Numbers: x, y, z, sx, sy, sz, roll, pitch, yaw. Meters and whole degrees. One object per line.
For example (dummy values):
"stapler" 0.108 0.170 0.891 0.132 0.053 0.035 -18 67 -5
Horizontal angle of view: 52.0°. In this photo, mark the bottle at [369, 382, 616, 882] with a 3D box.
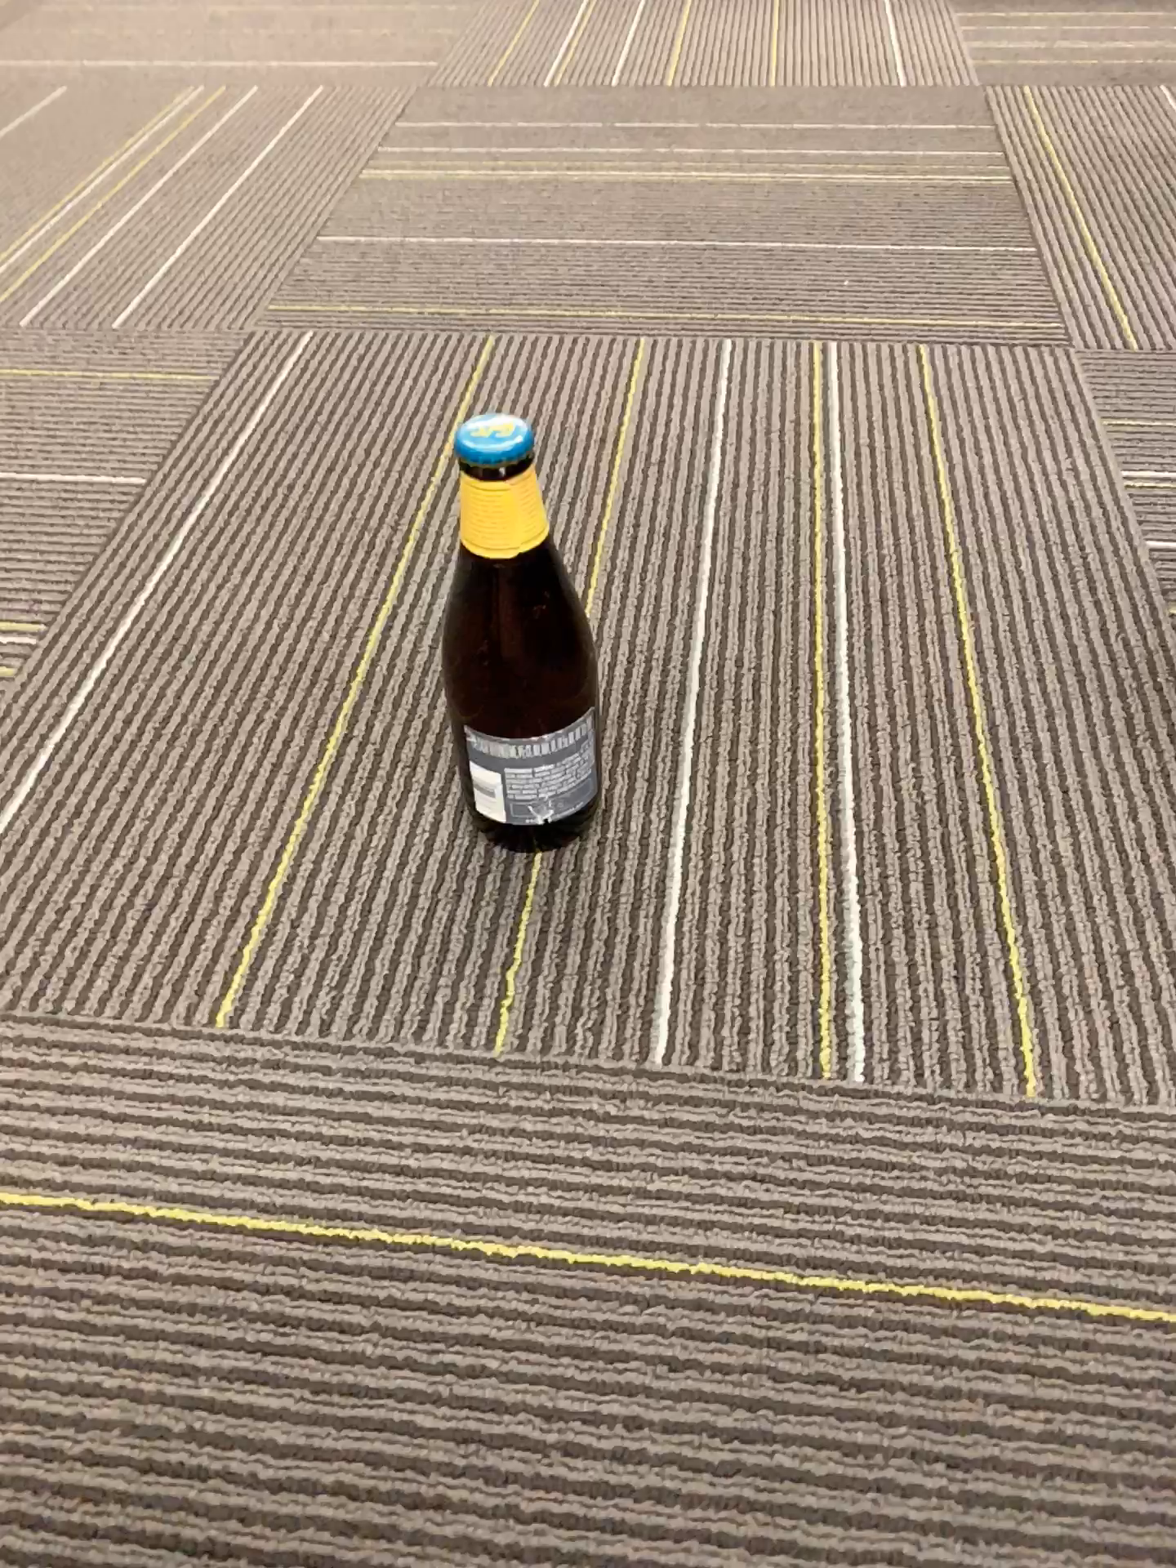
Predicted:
"bottle" -0.031 -0.052 0.467 0.060 0.179 0.060 -1 45 1
